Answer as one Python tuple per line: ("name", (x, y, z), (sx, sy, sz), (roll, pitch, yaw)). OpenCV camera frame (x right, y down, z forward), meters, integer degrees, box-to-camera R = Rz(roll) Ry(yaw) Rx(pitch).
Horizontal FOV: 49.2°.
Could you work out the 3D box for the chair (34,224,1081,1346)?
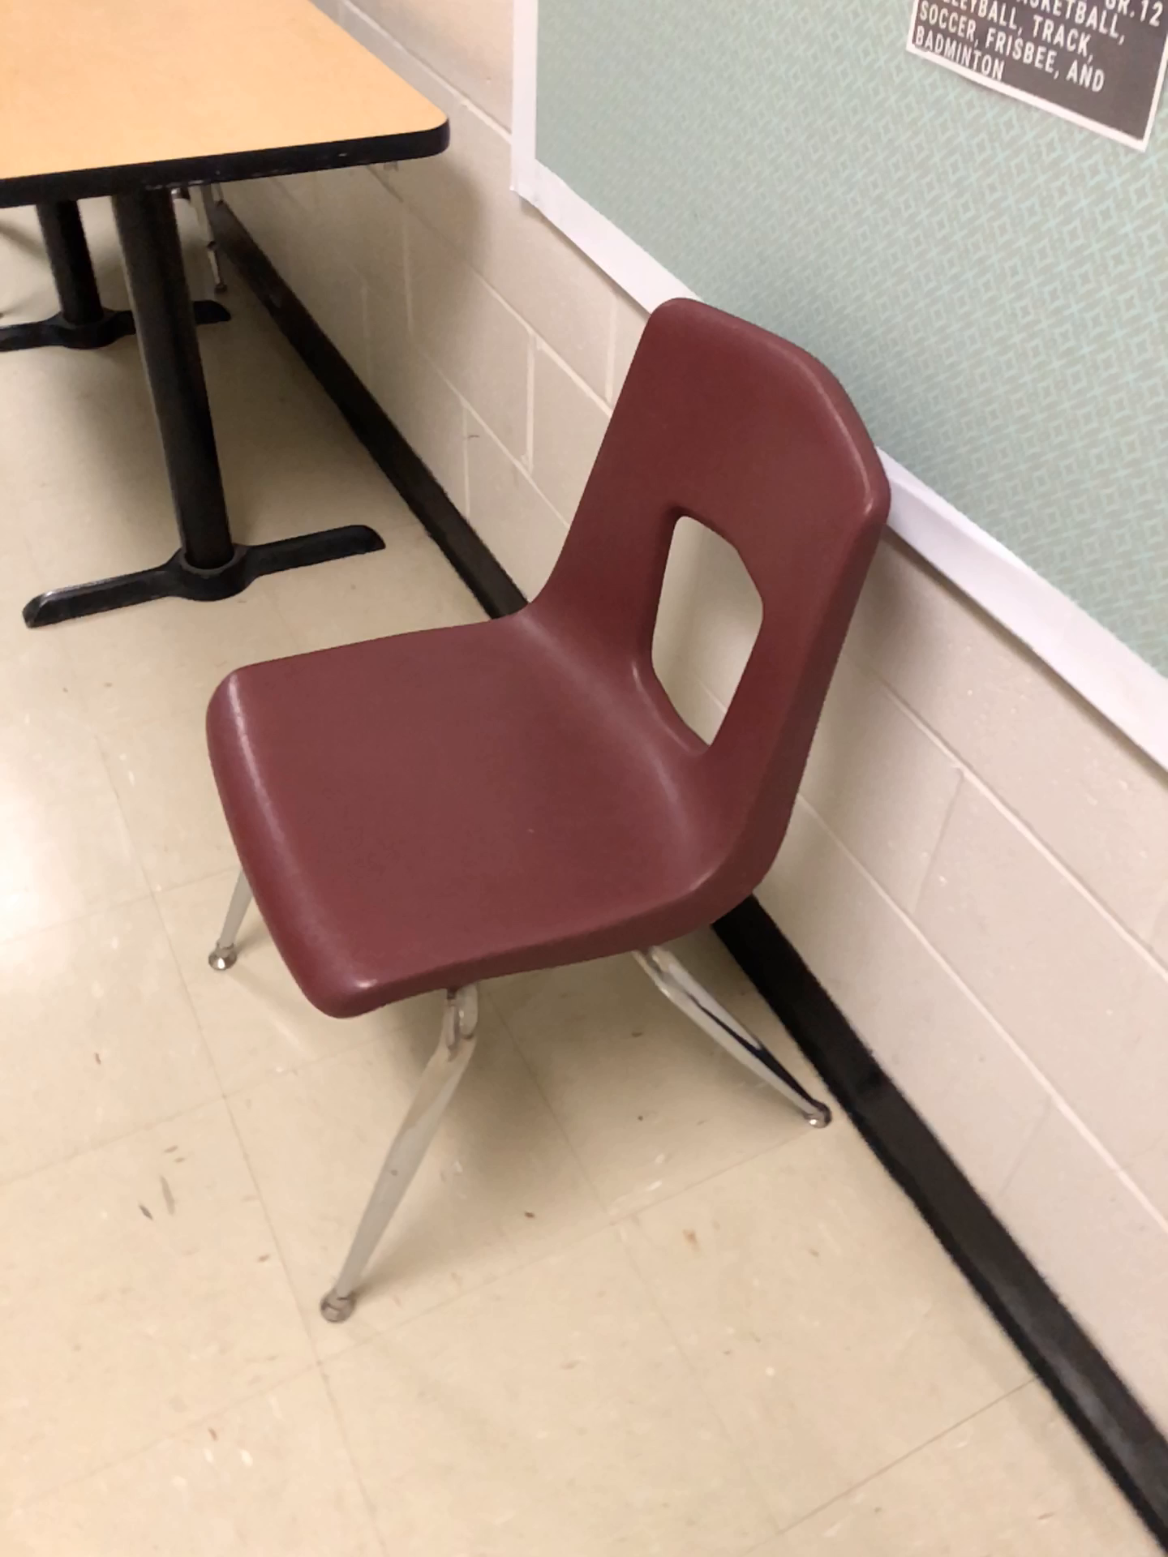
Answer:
("chair", (-0.063, 0.004, 1.115), (0.553, 0.707, 0.507), (-17, 48, -20))
